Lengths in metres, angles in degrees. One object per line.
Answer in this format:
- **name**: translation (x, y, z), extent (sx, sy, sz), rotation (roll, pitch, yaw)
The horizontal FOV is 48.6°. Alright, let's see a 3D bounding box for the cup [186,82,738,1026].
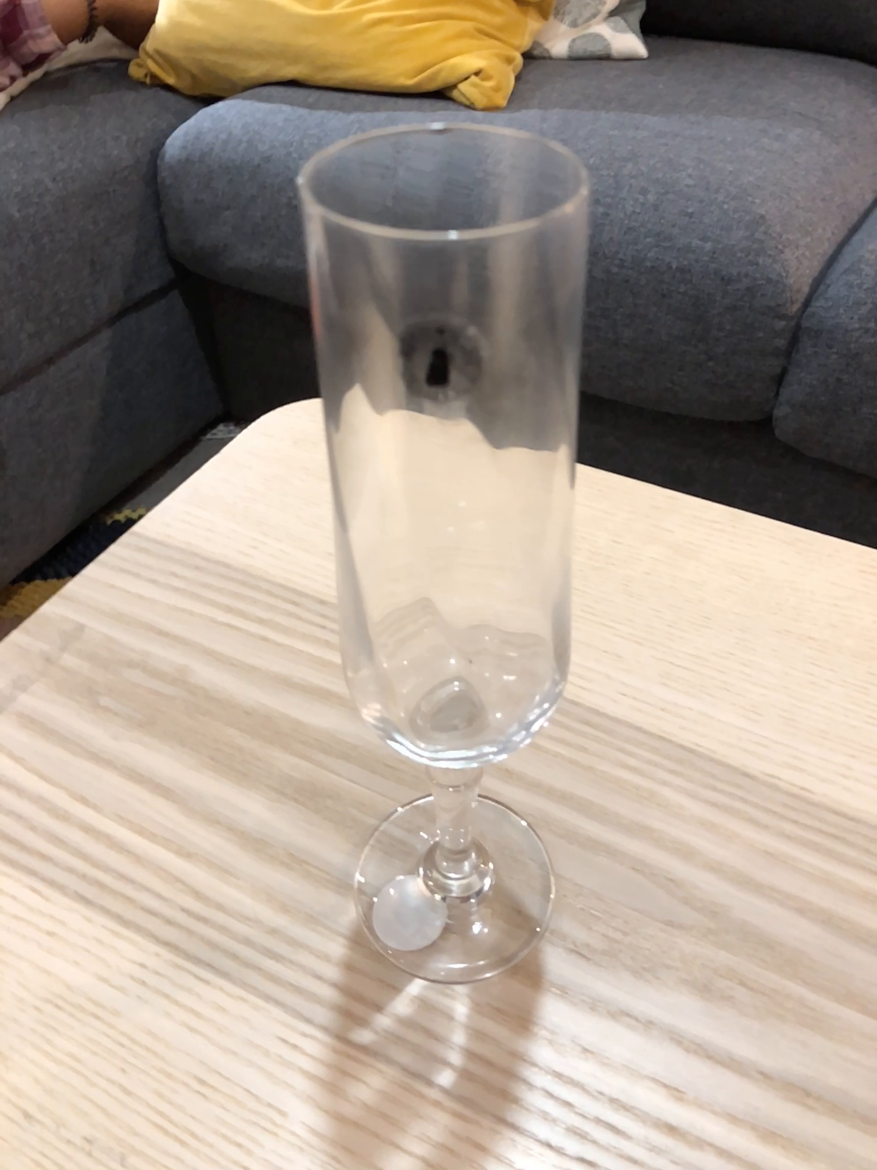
- **cup**: translation (0.000, 0.016, 0.249), extent (0.080, 0.239, 0.080), rotation (-1, 44, 1)
